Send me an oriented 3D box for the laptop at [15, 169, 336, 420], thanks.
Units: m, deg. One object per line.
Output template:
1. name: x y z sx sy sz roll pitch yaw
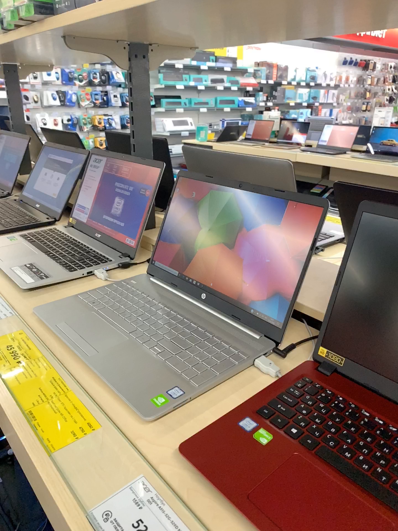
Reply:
1. laptop: -0.046 -0.012 0.668 0.347 0.209 0.361 -17 28 -37
